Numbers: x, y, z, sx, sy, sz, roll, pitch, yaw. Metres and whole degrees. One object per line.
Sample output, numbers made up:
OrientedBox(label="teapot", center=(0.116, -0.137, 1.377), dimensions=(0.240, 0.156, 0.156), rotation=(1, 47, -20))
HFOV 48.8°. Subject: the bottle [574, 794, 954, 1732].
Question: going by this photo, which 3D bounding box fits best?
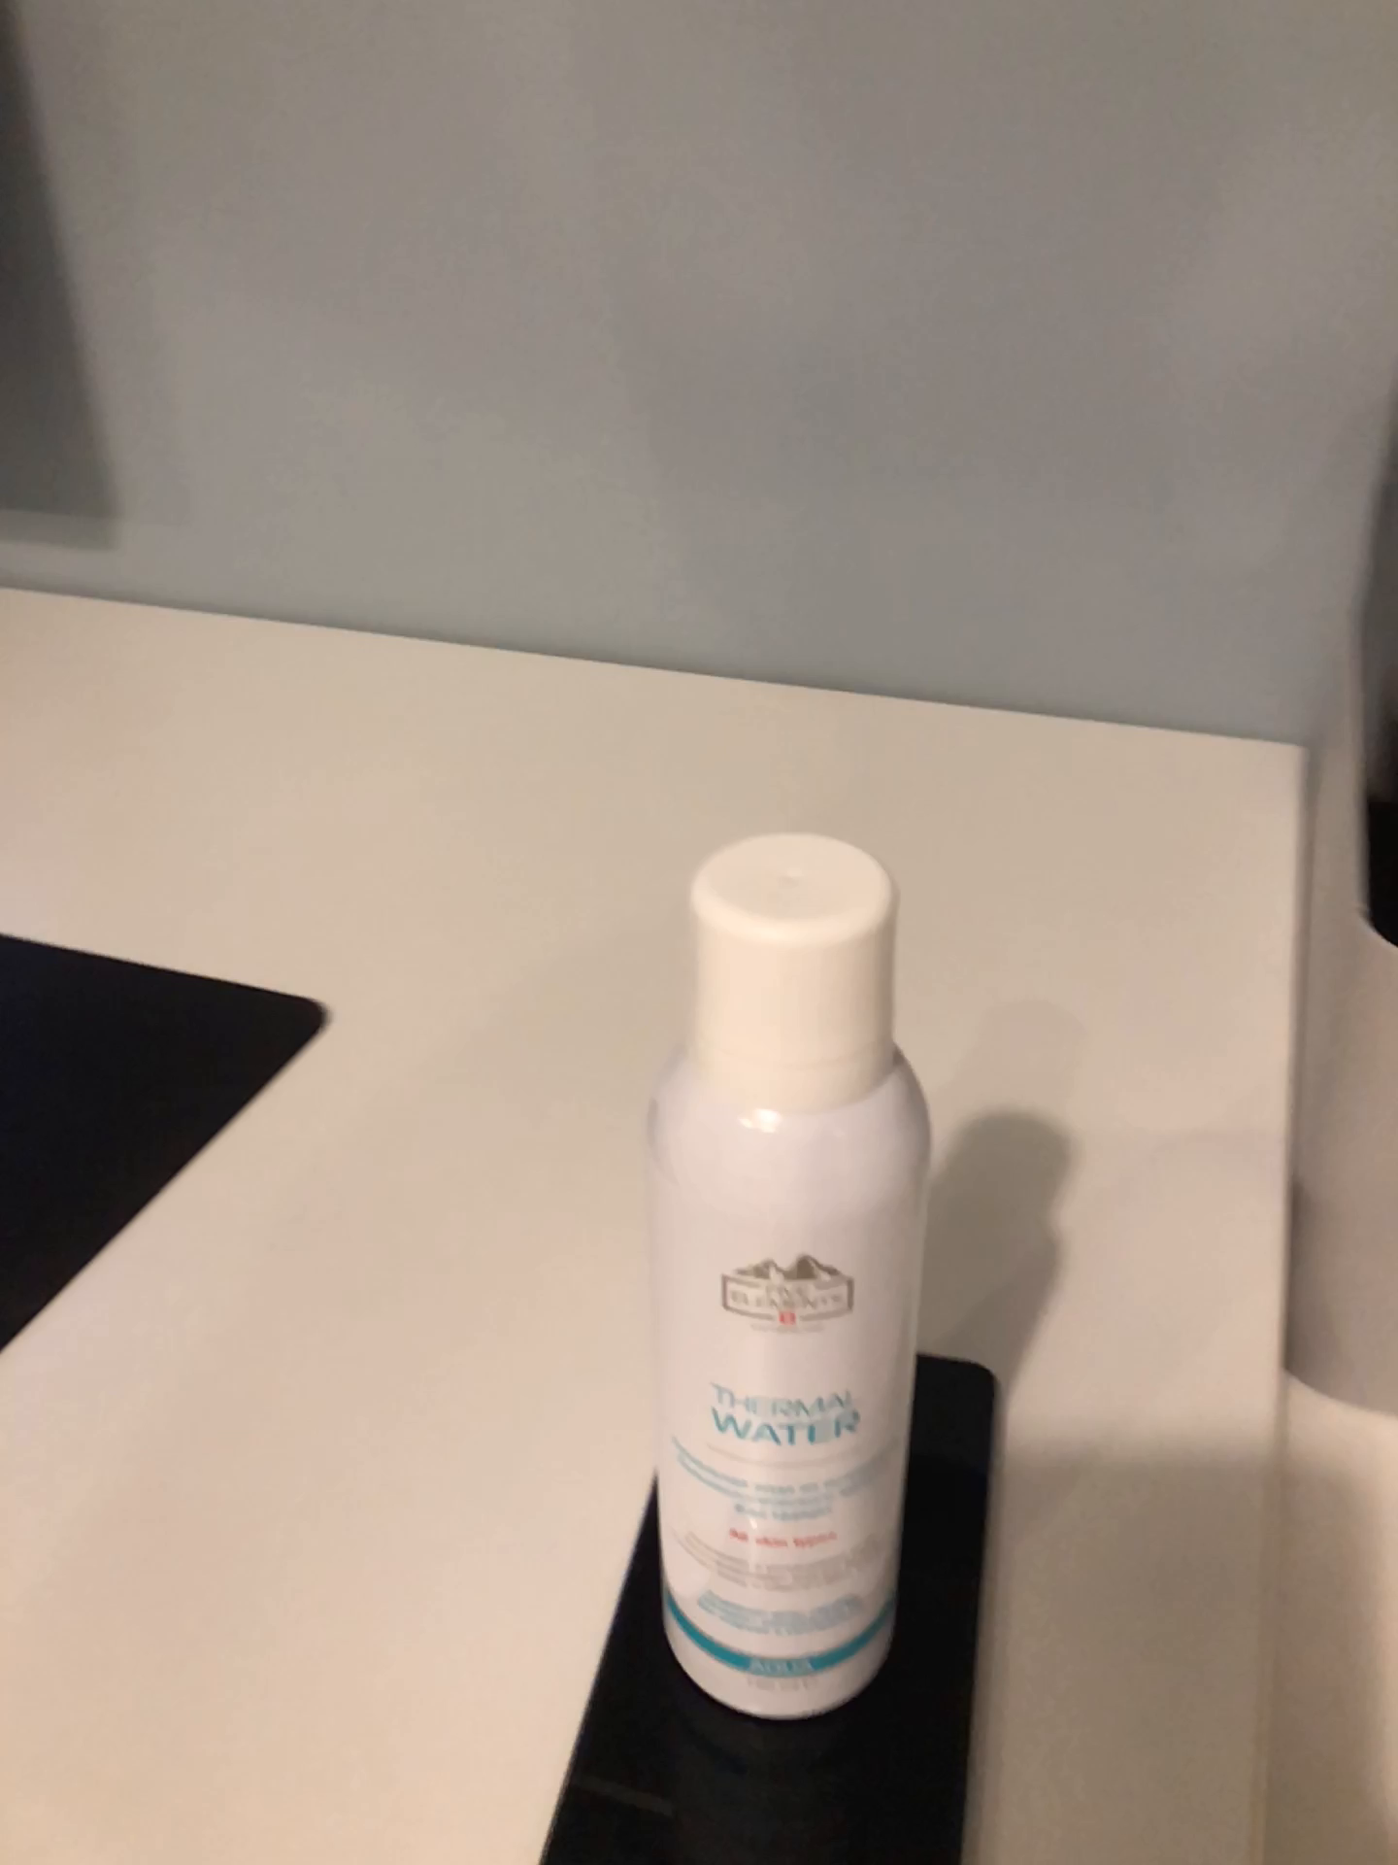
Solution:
OrientedBox(label="bottle", center=(0.009, 0.068, 0.290), dimensions=(0.053, 0.175, 0.059), rotation=(-3, 31, -4))
